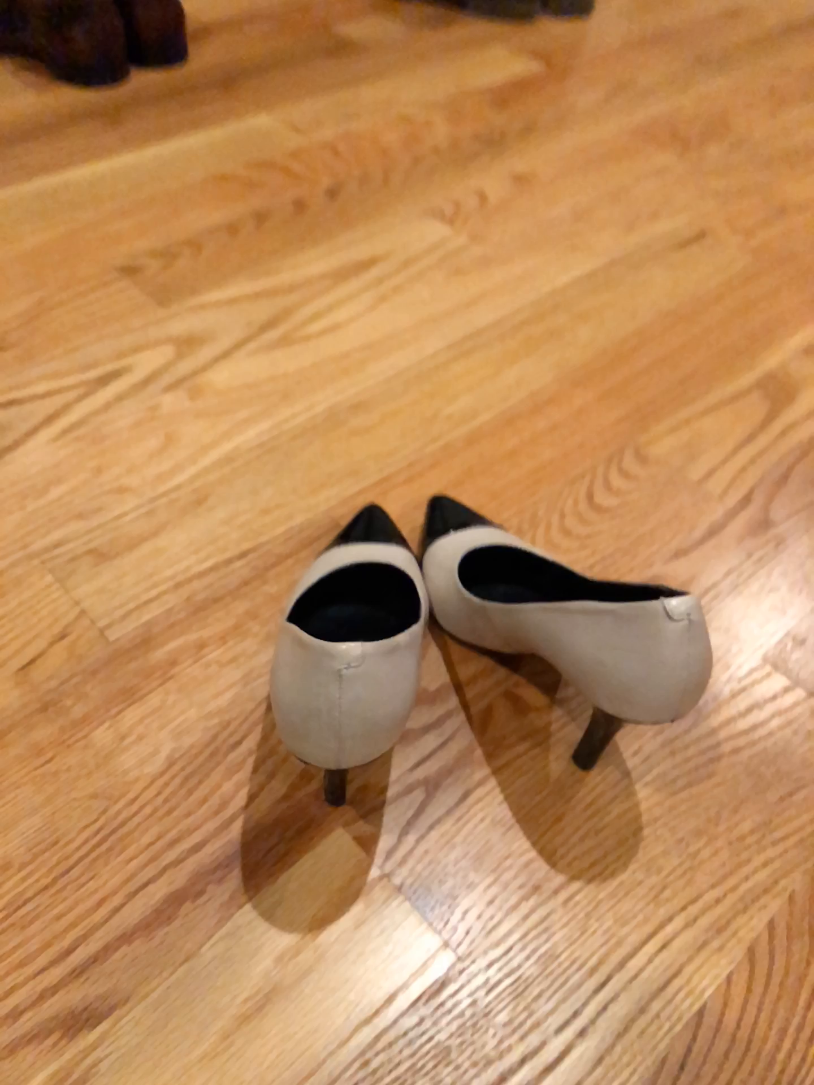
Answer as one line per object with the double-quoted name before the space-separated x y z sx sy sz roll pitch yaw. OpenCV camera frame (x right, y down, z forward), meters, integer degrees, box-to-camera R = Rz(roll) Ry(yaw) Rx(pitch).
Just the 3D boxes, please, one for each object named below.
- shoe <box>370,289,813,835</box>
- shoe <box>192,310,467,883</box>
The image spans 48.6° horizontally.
"shoe" 0.068 0.000 0.462 0.085 0.138 0.236 -16 51 -19
"shoe" -0.026 0.017 0.438 0.085 0.138 0.236 6 47 0
